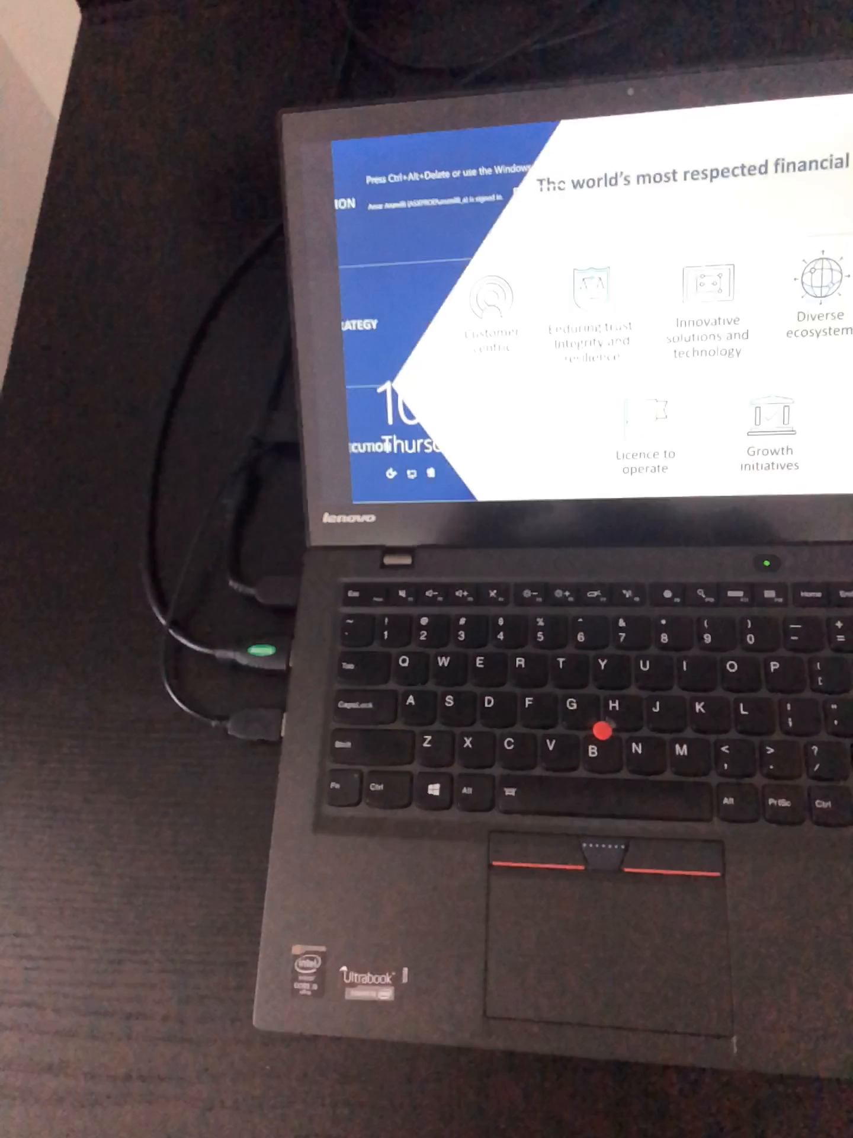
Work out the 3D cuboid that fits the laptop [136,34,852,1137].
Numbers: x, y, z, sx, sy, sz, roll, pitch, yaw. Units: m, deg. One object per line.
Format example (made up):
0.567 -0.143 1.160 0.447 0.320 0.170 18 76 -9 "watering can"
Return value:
0.088 -0.008 0.387 0.322 0.117 0.389 0 70 10 "laptop"
